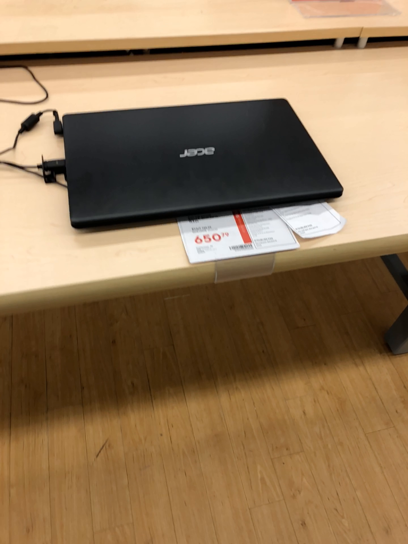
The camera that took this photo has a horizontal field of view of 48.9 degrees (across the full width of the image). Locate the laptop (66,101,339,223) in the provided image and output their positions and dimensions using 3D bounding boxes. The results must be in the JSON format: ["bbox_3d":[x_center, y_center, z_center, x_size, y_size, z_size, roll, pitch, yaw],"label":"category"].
[{"bbox_3d":[-0.009,-0.168,0.629,0.347,0.003,0.213,-9,54,-13],"label":"laptop"}]
